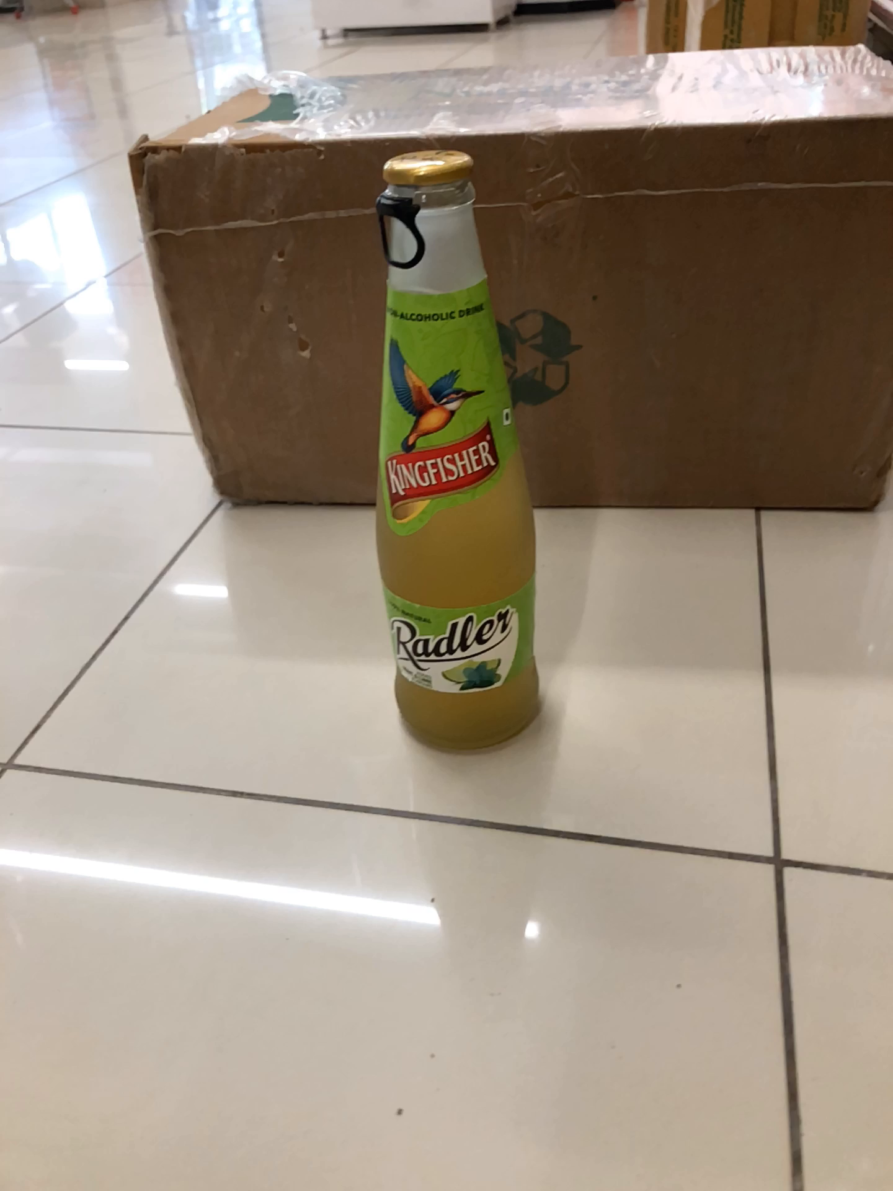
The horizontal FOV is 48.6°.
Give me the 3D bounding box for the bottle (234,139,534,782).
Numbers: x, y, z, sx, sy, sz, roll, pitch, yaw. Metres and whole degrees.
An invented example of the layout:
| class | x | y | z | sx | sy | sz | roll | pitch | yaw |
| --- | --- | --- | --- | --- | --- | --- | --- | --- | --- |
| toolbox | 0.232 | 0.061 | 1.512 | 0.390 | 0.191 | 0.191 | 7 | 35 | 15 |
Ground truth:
| class | x | y | z | sx | sy | sz | roll | pitch | yaw |
| --- | --- | --- | --- | --- | --- | --- | --- | --- | --- |
| bottle | -0.010 | -0.036 | 0.339 | 0.070 | 0.209 | 0.060 | 3 | 35 | 11 |
